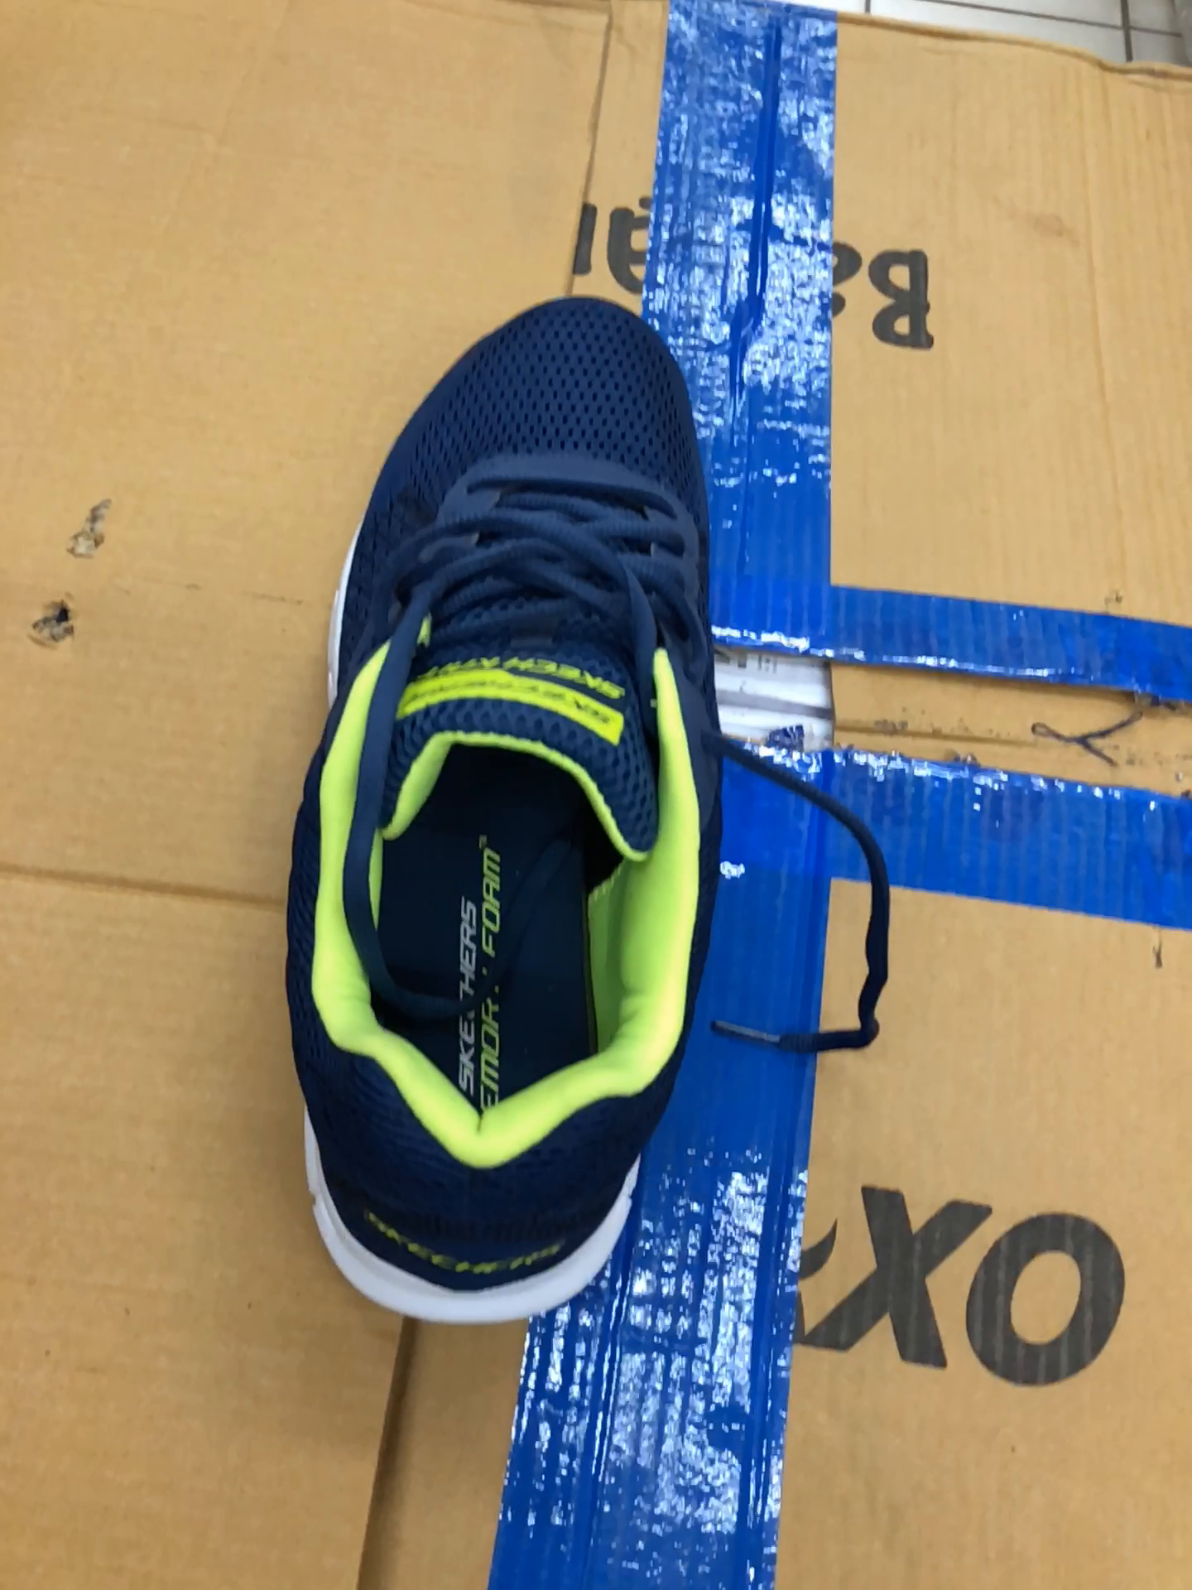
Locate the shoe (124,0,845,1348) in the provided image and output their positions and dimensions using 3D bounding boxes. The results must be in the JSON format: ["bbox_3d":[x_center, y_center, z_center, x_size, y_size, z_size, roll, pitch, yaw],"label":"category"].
[{"bbox_3d":[-0.013,-0.027,0.319,0.110,0.130,0.291,4,66,-2],"label":"shoe"}]
